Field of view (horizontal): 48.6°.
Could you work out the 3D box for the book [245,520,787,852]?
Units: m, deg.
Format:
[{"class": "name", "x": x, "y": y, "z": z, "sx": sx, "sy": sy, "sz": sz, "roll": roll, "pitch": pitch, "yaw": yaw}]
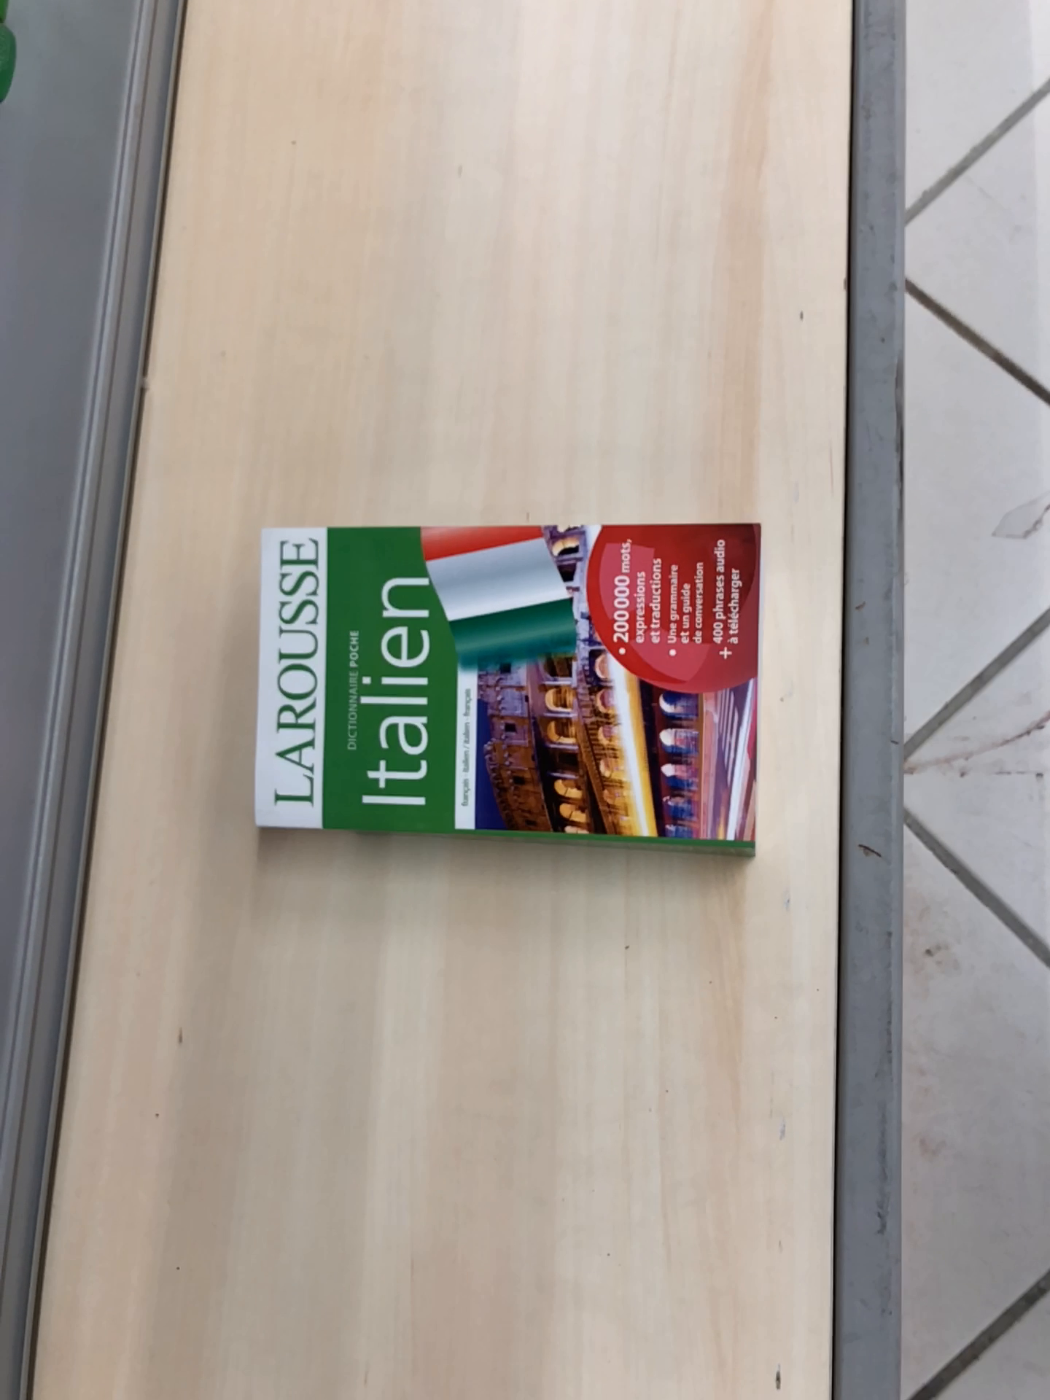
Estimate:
[{"class": "book", "x": 0.000, "y": -0.004, "z": 0.419, "sx": 0.183, "sy": 0.045, "sz": 0.106, "roll": 1, "pitch": 77, "yaw": 12}]
